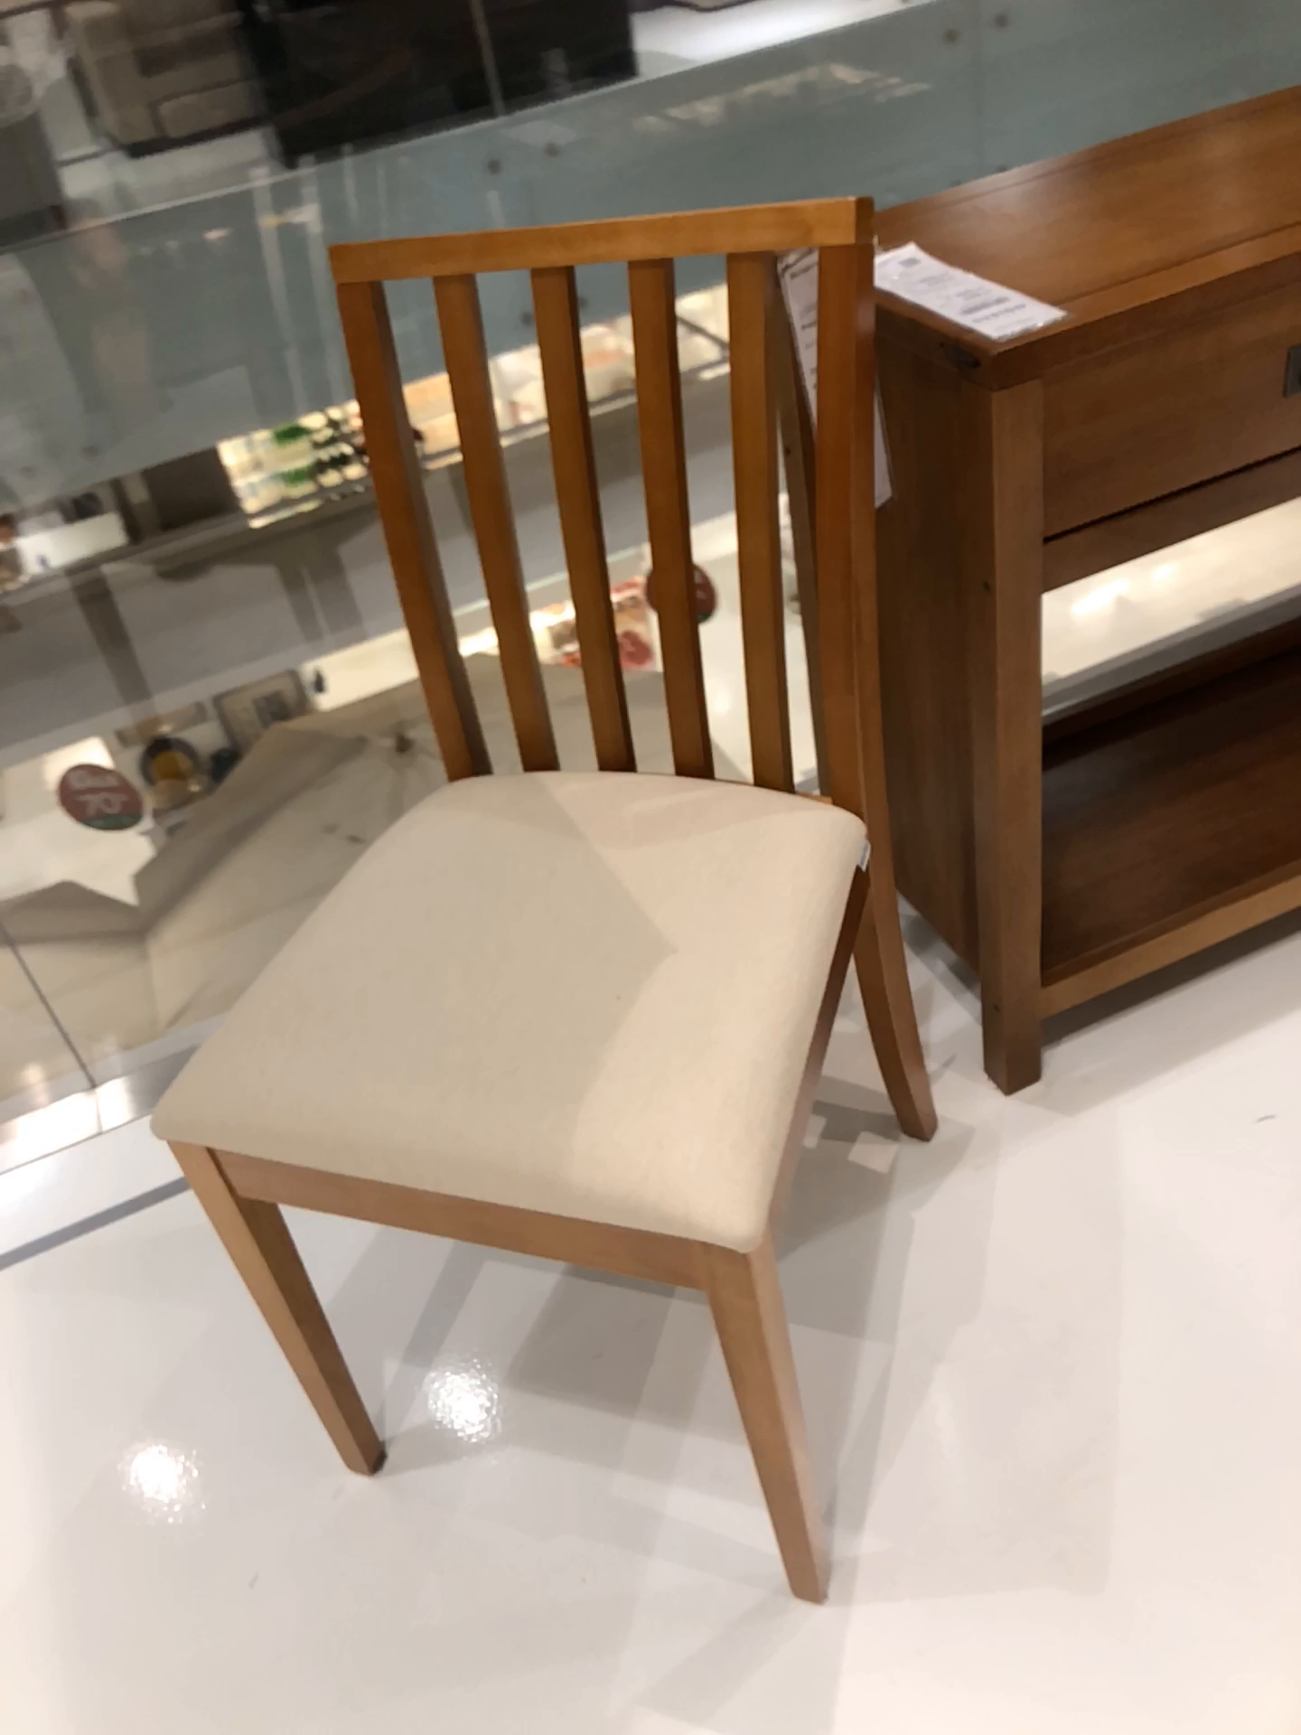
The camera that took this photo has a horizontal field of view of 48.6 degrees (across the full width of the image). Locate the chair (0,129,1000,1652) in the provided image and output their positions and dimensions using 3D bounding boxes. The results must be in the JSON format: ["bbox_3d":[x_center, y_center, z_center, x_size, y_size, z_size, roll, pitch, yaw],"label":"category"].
[{"bbox_3d":[-0.073,0.023,1.035,0.540,0.833,0.554,4,40,21],"label":"chair"}]
